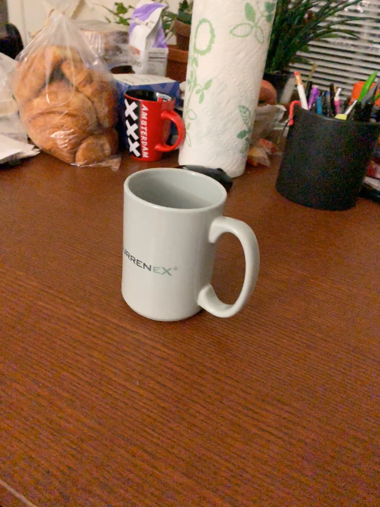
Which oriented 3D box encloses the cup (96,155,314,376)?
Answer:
[{"bbox_3d":[0.005,-0.001,0.335,0.140,0.109,0.100,29,38,30],"label":"cup"}]
